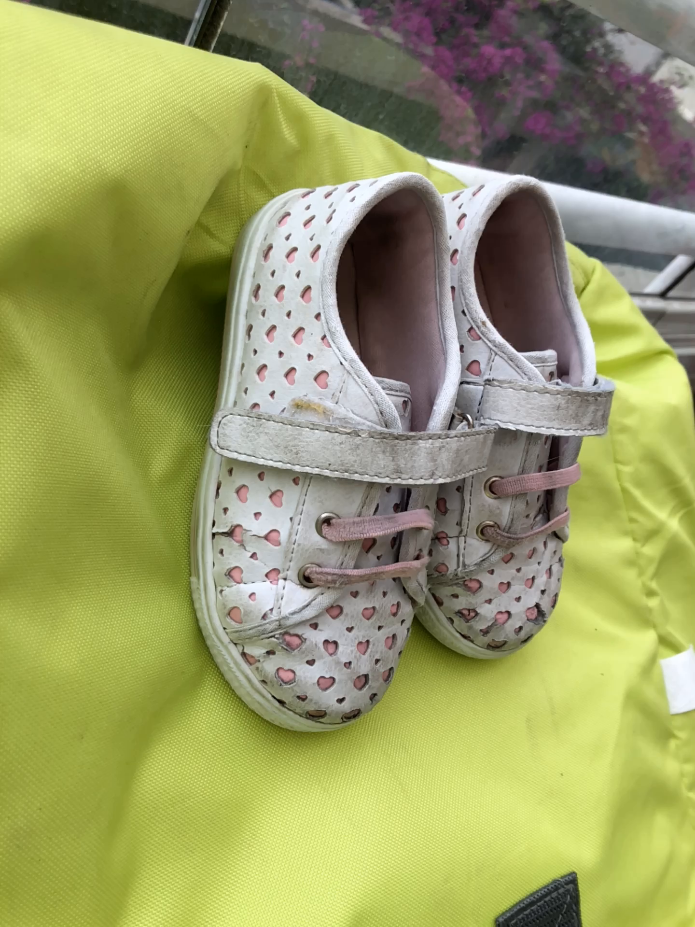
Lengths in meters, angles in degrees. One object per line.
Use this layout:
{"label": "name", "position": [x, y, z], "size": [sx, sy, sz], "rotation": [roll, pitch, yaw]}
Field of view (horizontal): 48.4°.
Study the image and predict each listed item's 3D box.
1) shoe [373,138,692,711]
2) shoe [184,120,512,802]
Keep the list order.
{"label": "shoe", "position": [0.069, -0.014, 0.284], "size": [0.081, 0.060, 0.176], "rotation": [-8, 92, -42]}
{"label": "shoe", "position": [0.000, -0.001, 0.247], "size": [0.081, 0.060, 0.176], "rotation": [1, 90, -37]}
